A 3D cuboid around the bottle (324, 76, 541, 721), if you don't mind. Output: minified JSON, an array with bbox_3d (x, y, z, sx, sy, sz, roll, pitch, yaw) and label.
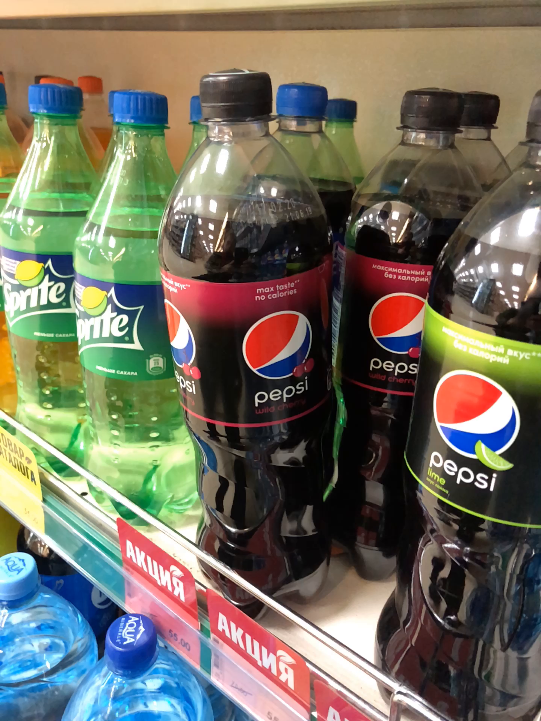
[{"bbox_3d":[0.090,0.035,0.240,0.077,0.263,0.086,-15,30,-34],"label":"bottle"}]

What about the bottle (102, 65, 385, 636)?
[{"bbox_3d":[-0.011,-0.001,0.295,0.077,0.256,0.086,-20,33,-32],"label":"bottle"}]
